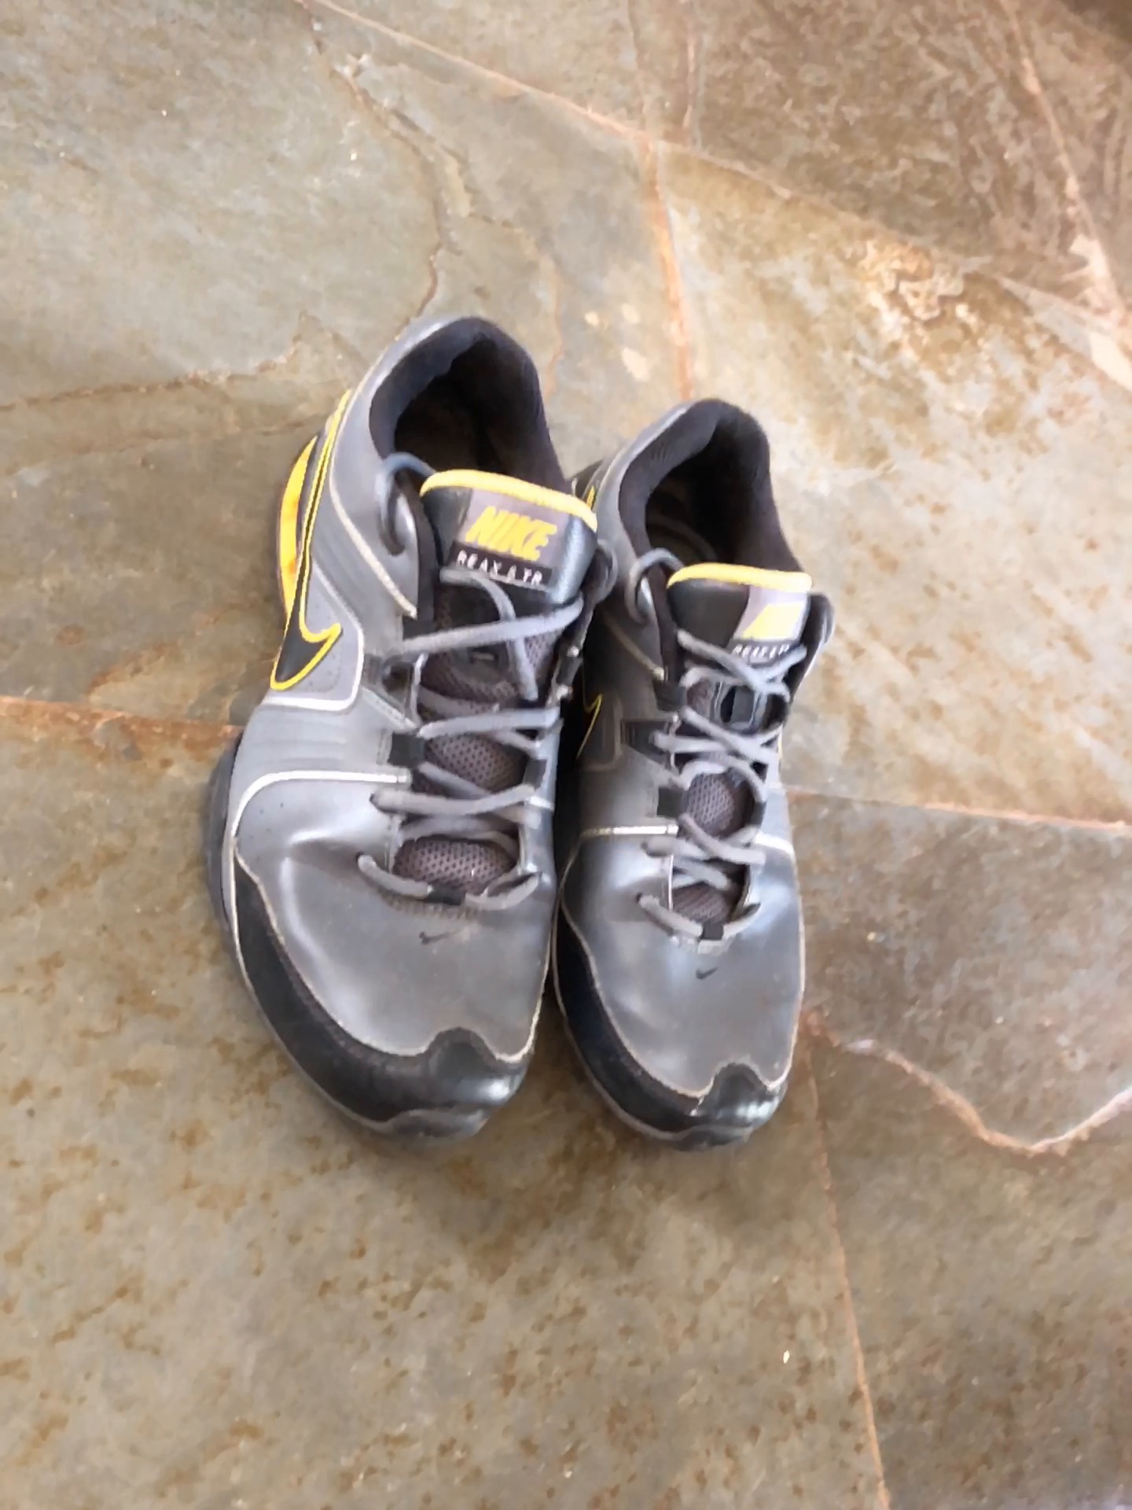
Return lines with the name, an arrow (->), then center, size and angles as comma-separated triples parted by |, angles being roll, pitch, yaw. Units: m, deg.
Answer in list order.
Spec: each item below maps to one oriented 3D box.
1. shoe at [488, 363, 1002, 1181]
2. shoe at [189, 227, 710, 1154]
shoe -> 0.046, 0.008, 0.417 | 0.100, 0.099, 0.241 | 10, 61, -27
shoe -> -0.041, -0.016, 0.369 | 0.100, 0.099, 0.241 | 10, 61, -27
